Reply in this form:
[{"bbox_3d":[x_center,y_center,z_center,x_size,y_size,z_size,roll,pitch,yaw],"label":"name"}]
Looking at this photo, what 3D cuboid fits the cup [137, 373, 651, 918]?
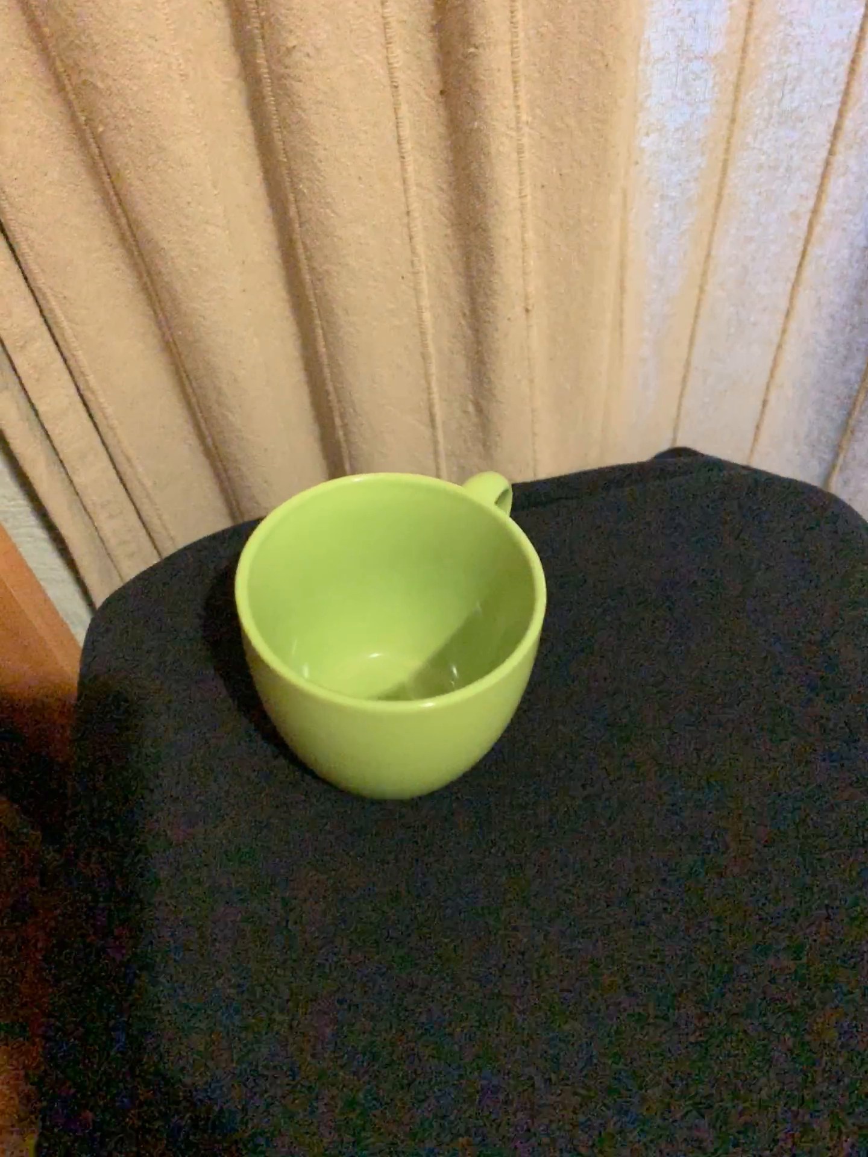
[{"bbox_3d":[-0.006,0.014,0.273,0.089,0.069,0.125,25,55,16],"label":"cup"}]
